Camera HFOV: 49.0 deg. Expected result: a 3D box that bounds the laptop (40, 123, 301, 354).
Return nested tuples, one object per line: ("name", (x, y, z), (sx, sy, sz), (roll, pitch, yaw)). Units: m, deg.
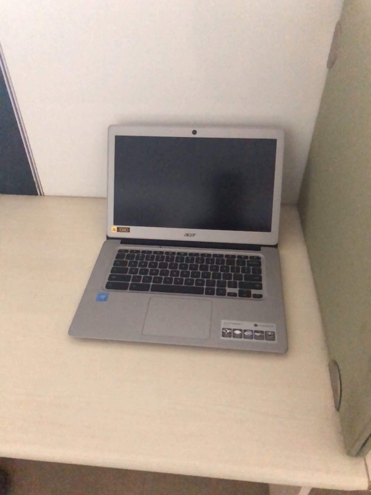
("laptop", (-0.003, -0.042, 0.688), (0.322, 0.168, 0.368), (4, 42, 5))
